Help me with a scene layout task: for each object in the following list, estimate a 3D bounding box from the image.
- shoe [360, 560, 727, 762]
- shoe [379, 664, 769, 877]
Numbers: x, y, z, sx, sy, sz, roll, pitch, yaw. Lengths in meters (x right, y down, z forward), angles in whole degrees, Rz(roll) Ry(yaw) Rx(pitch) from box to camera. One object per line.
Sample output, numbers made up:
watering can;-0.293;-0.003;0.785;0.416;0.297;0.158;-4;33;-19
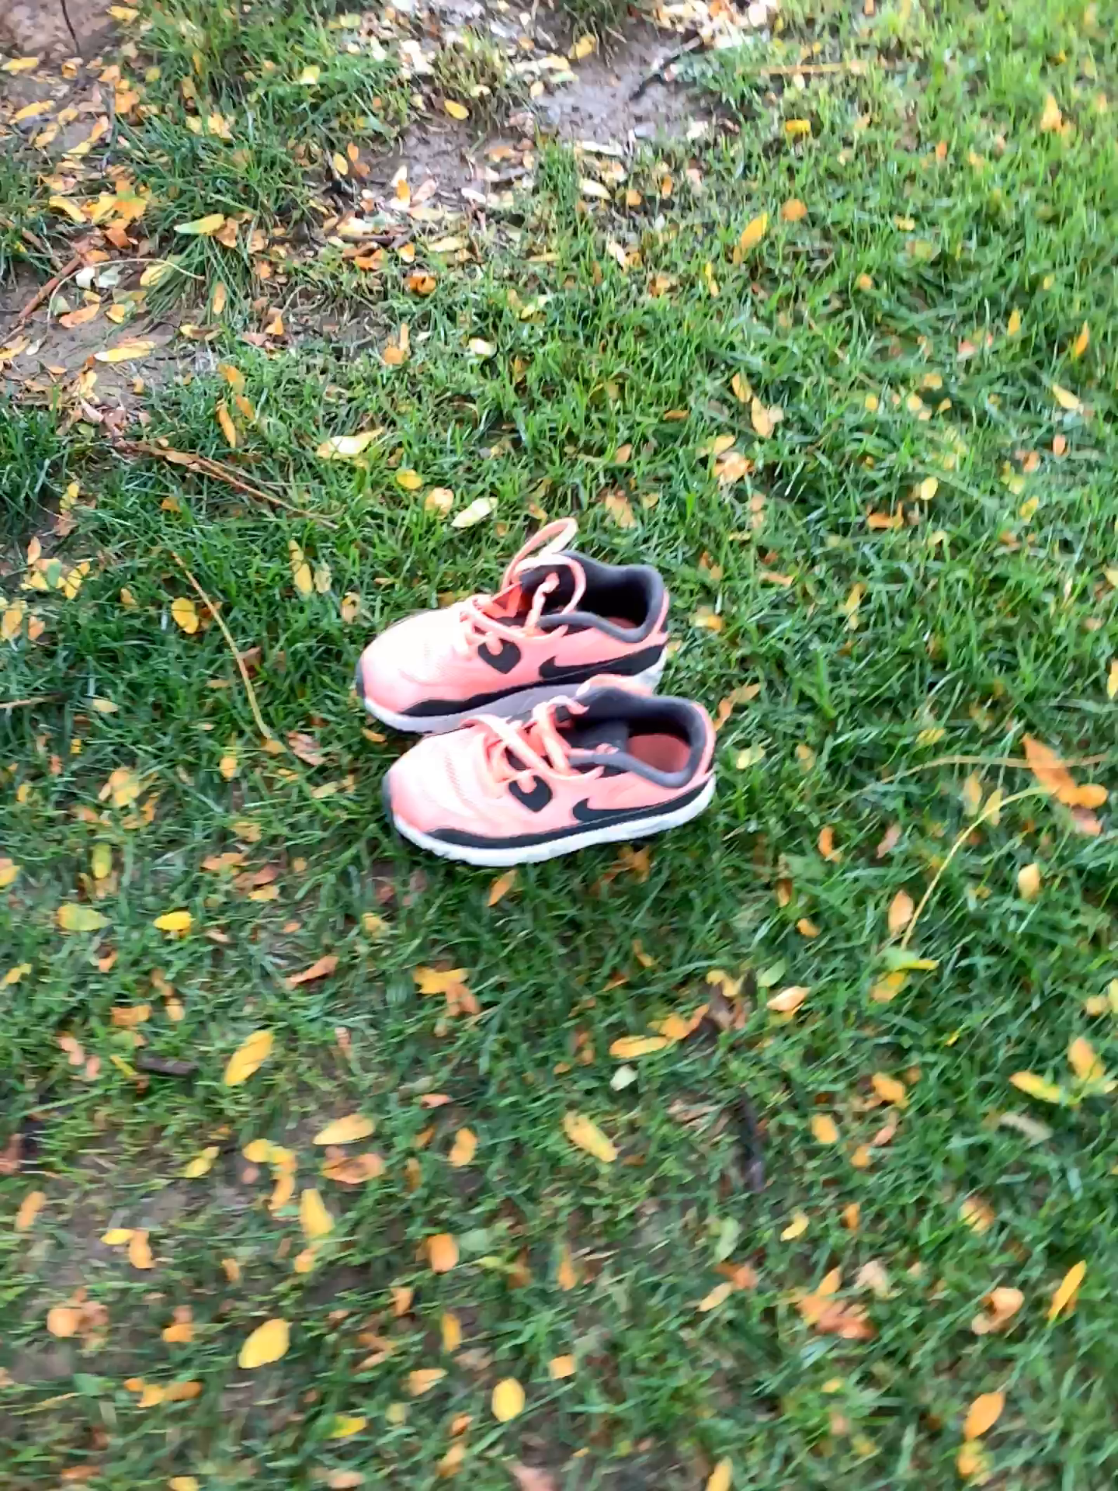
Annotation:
shoe;-0.012;-0.050;0.674;0.200;0.070;0.080;-4;61;-5
shoe;0.005;0.014;0.638;0.200;0.070;0.080;-4;61;-5
